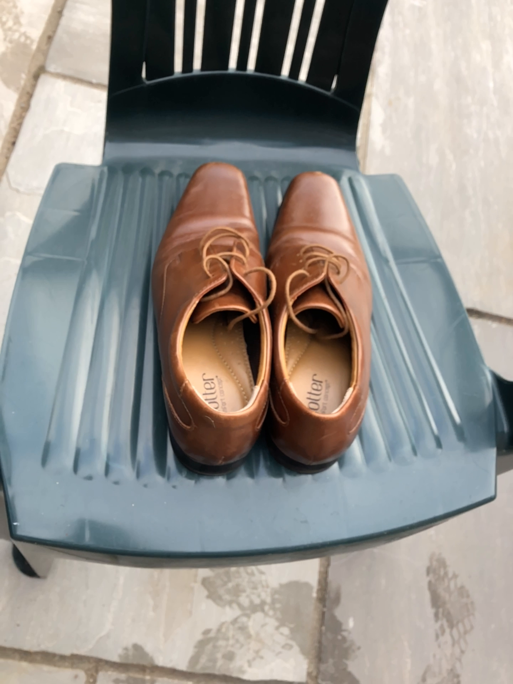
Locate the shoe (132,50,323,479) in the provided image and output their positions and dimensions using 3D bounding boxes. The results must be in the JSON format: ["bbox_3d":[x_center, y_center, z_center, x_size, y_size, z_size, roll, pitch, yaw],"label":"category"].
[{"bbox_3d":[-0.020,-0.053,0.427,0.110,0.110,0.291,5,70,-9],"label":"shoe"}]

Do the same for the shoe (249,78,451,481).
[{"bbox_3d":[0.068,-0.045,0.446,0.110,0.110,0.281,7,70,-8],"label":"shoe"}]
